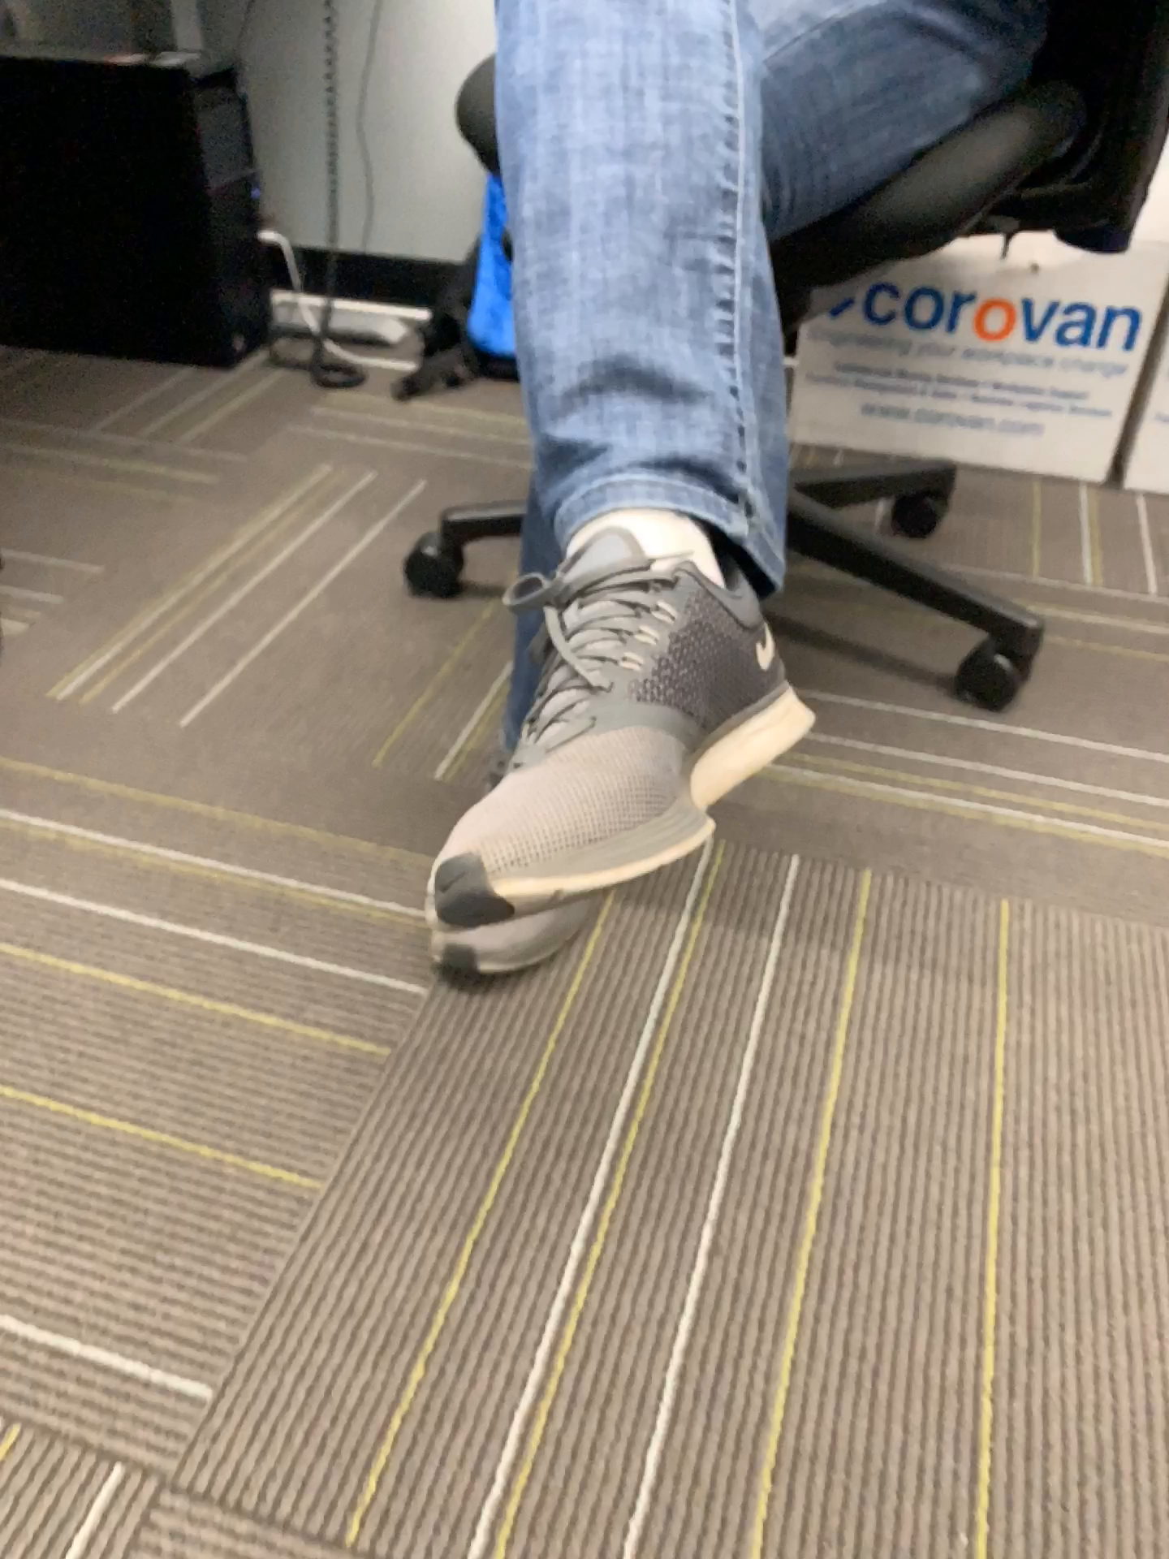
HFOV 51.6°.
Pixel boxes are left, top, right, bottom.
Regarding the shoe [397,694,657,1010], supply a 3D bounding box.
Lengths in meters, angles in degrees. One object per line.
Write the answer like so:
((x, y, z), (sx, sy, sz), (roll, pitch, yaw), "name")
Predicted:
((-0.038, 0.047, 0.988), (0.120, 0.085, 0.270), (13, 39, 13), "shoe")

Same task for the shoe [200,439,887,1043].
((0.005, -0.034, 0.550), (0.122, 0.143, 0.296), (-24, 9, 39), "shoe")
